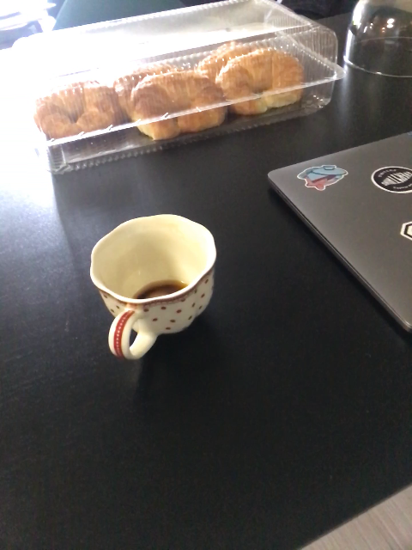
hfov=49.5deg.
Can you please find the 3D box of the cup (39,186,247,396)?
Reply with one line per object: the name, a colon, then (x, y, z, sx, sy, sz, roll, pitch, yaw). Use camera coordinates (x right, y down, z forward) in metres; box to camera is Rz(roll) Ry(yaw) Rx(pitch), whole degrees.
cup: (-0.036, 0.004, 0.327, 0.090, 0.070, 0.121, 17, 48, 22)
